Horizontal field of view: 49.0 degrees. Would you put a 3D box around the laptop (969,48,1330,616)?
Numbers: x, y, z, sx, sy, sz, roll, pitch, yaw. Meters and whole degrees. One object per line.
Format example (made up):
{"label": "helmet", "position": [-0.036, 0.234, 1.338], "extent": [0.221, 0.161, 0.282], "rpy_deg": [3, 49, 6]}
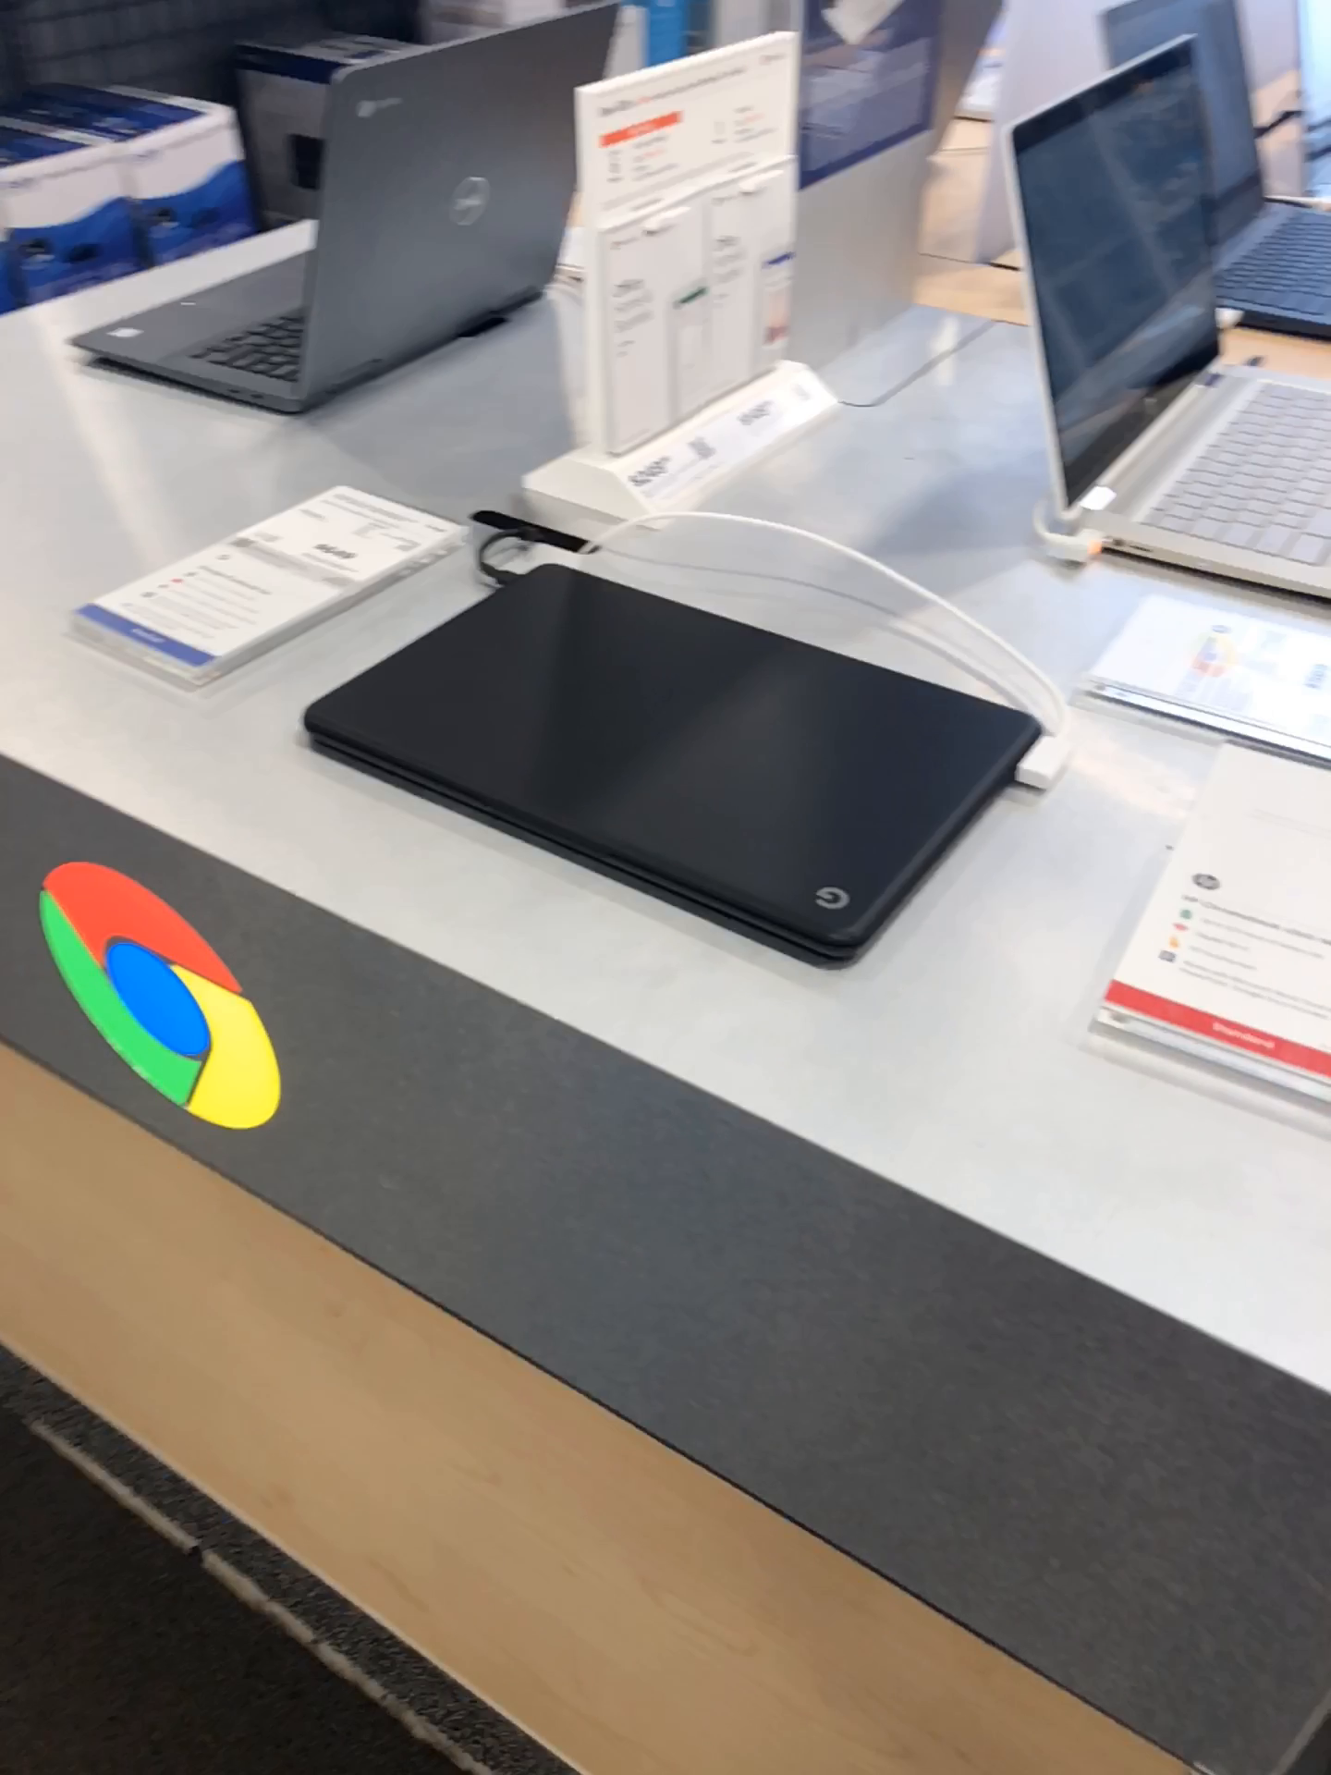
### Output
{"label": "laptop", "position": [0.384, -0.347, 0.865], "extent": [0.274, 0.206, 0.304], "rpy_deg": [21, 43, 25]}

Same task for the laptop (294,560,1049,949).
{"label": "laptop", "position": [0.004, -0.080, 0.688], "extent": [0.296, 0.001, 0.195], "rpy_deg": [23, 44, 25]}

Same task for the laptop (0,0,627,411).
{"label": "laptop", "position": [-0.238, -0.522, 1.067], "extent": [0.292, 0.196, 0.299], "rpy_deg": [21, 44, 24]}

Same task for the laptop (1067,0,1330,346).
{"label": "laptop", "position": [0.542, -0.610, 1.195], "extent": [0.287, 0.189, 0.307], "rpy_deg": [22, 44, 26]}
